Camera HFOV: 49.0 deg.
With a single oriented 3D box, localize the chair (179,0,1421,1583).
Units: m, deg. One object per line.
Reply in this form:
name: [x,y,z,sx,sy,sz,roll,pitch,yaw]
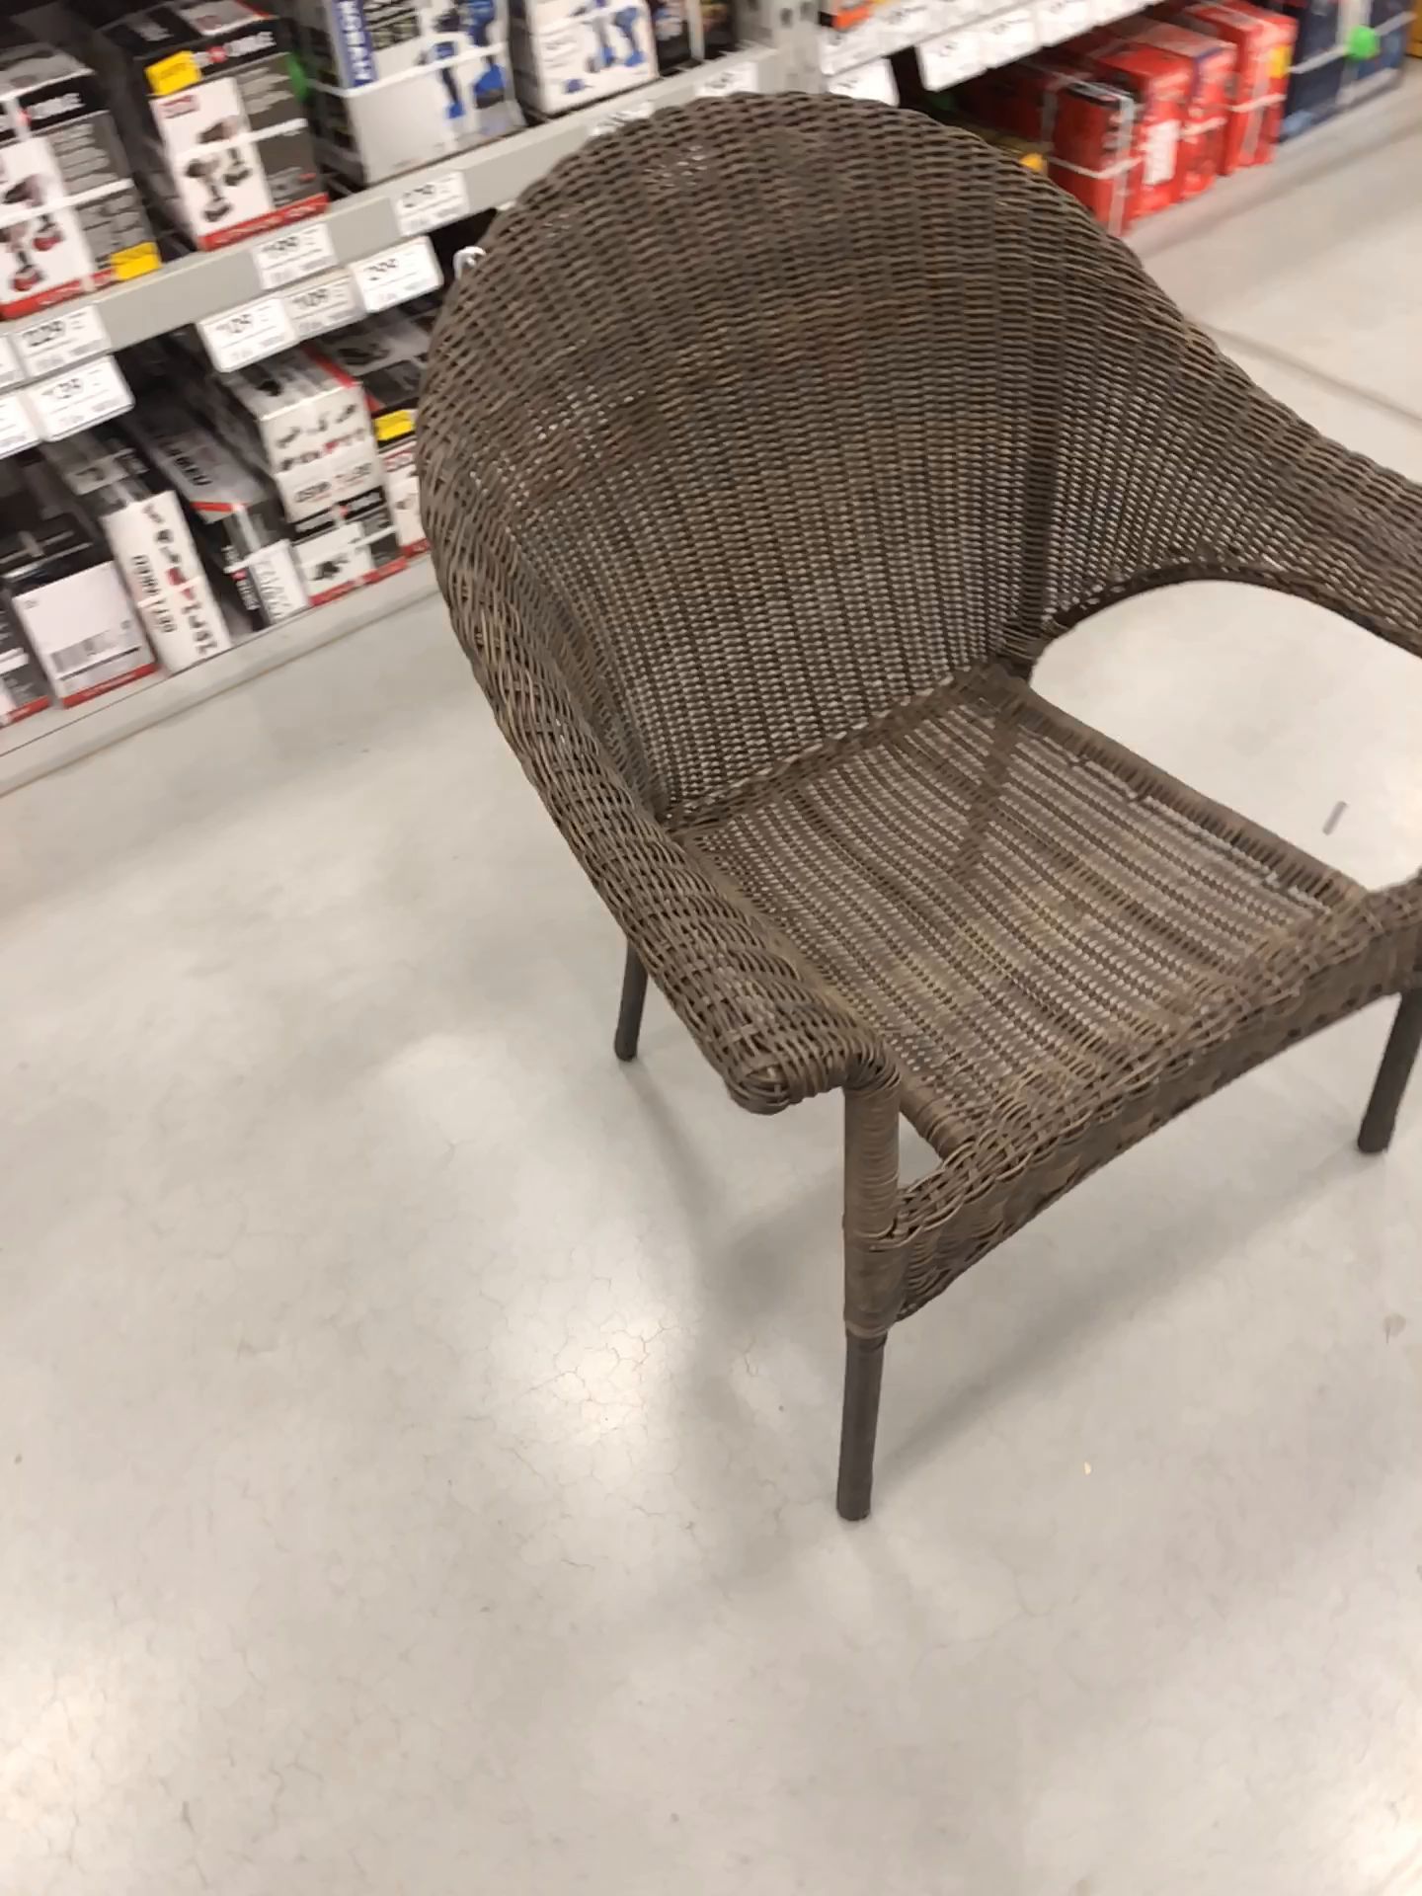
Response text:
chair: [0.177,-0.165,1.254,0.721,0.797,0.762,-29,51,-19]
